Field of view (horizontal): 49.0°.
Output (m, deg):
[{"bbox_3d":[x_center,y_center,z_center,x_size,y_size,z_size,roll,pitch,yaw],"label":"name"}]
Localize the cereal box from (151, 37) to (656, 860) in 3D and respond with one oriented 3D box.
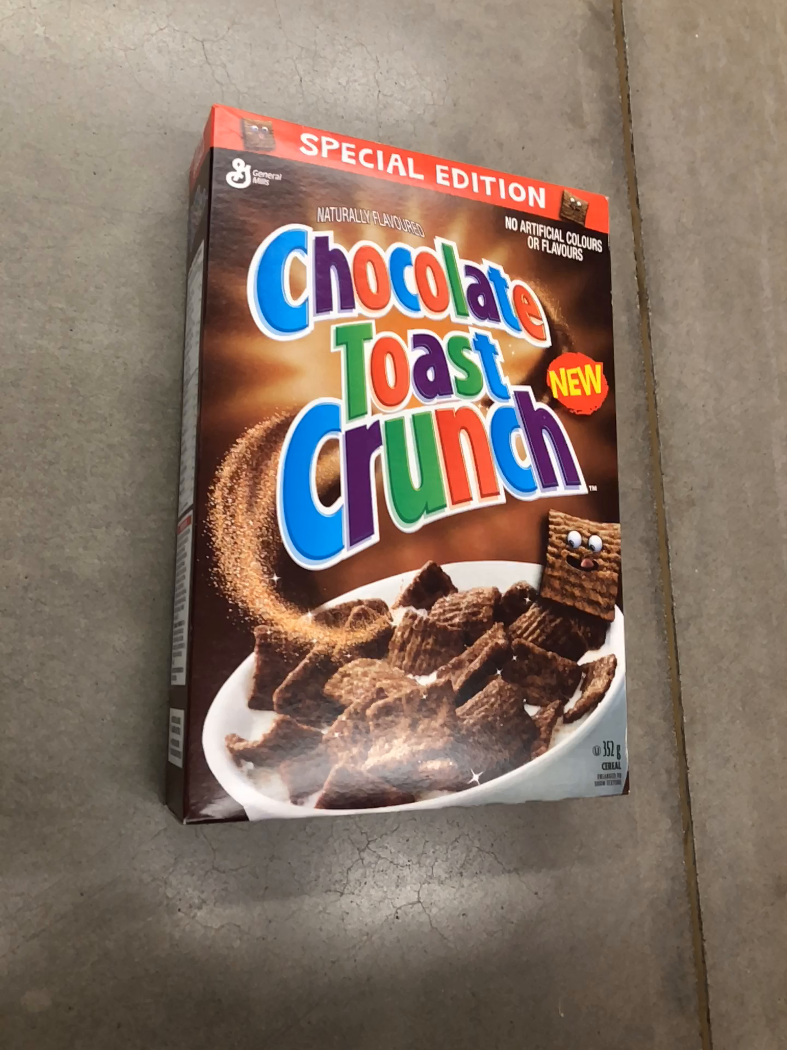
[{"bbox_3d":[0.001,-0.031,0.380,0.190,0.070,0.310,4,76,-23],"label":"cereal box"}]
